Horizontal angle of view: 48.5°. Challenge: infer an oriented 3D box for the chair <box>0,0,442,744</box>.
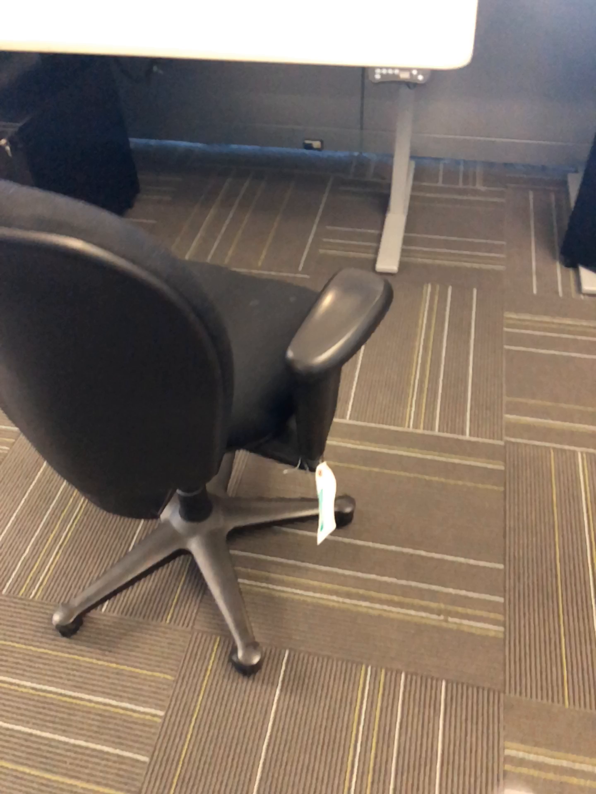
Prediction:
[{"bbox_3d":[-0.278,-0.092,1.093,0.702,0.995,0.682,21,51,22],"label":"chair"}]
